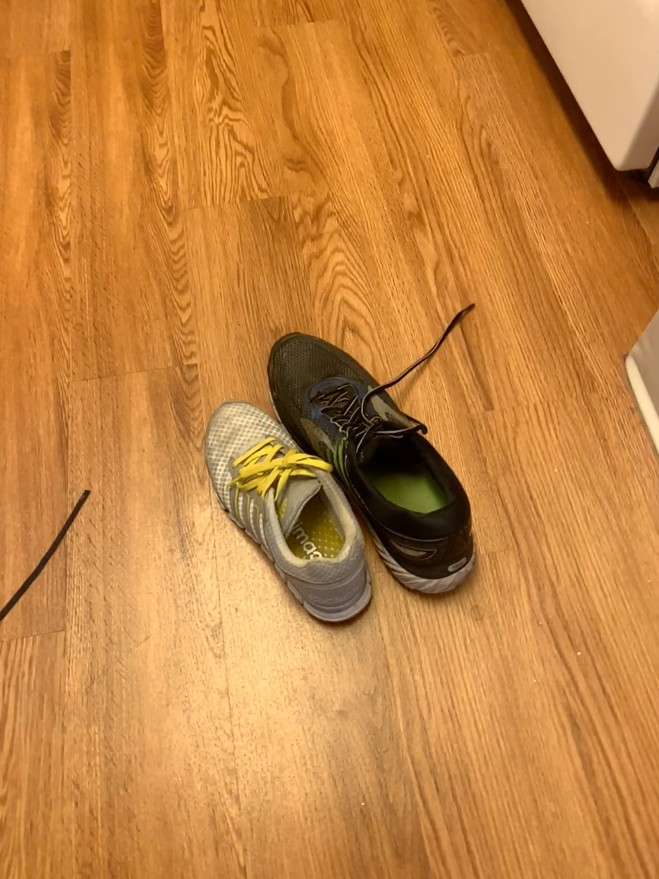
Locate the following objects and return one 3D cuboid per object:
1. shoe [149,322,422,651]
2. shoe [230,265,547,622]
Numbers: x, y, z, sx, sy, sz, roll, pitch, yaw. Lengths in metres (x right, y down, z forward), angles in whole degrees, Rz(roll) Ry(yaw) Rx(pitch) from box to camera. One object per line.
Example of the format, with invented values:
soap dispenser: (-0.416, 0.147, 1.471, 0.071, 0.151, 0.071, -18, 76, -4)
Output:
shoe: (-0.042, 0.037, 0.582, 0.100, 0.110, 0.251, -31, 65, -15)
shoe: (0.038, -0.003, 0.597, 0.110, 0.110, 0.291, -30, 65, -14)
